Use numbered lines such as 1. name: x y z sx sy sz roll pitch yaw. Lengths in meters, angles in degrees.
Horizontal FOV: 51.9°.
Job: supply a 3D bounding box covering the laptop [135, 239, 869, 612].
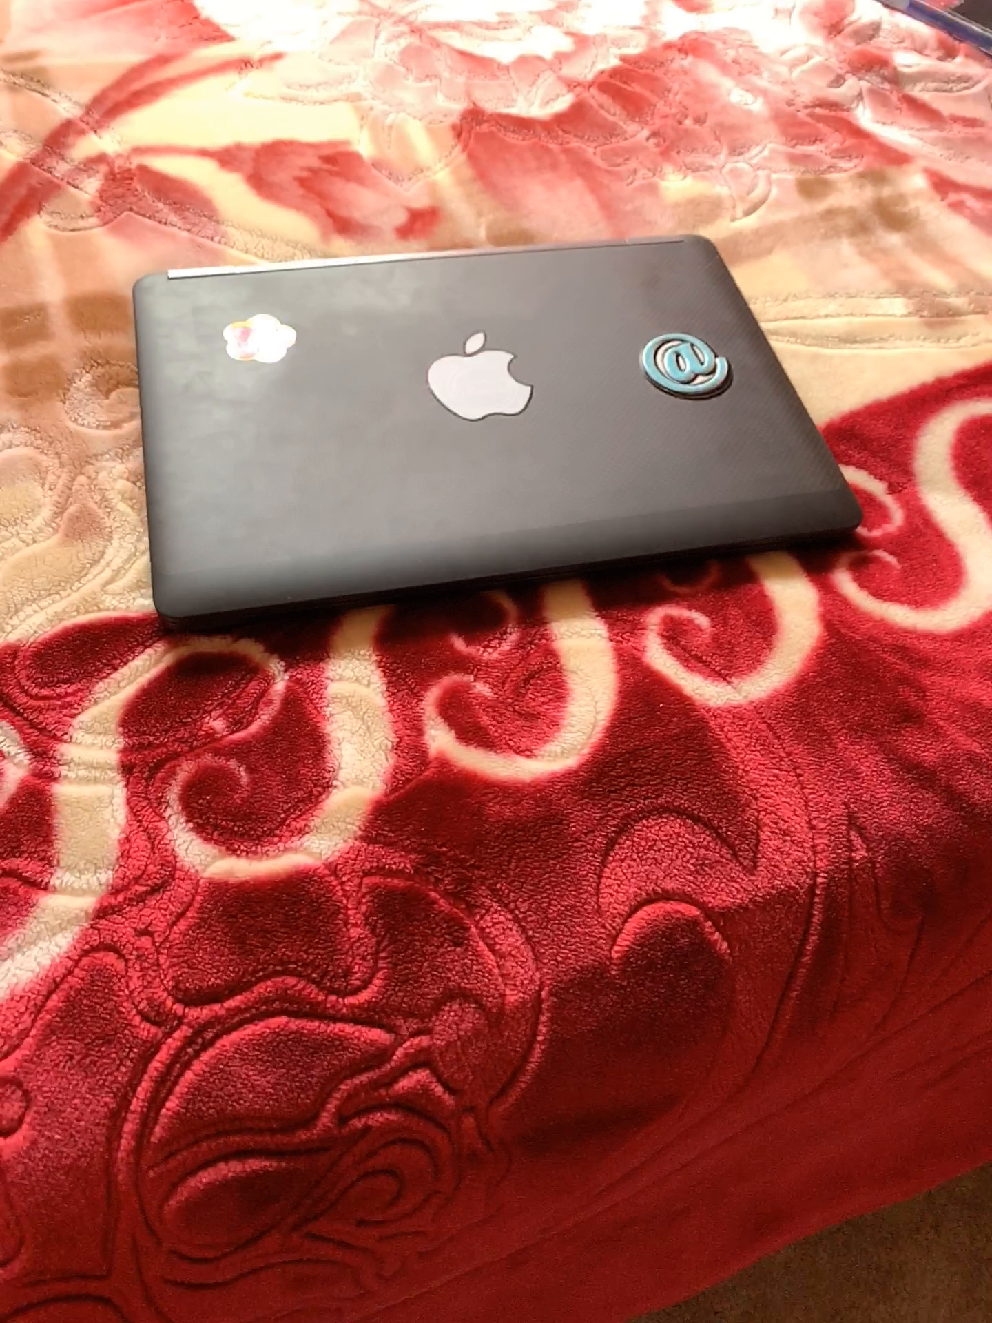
1. laptop: -0.008 -0.125 0.473 0.299 0.001 0.209 -8 57 -11
